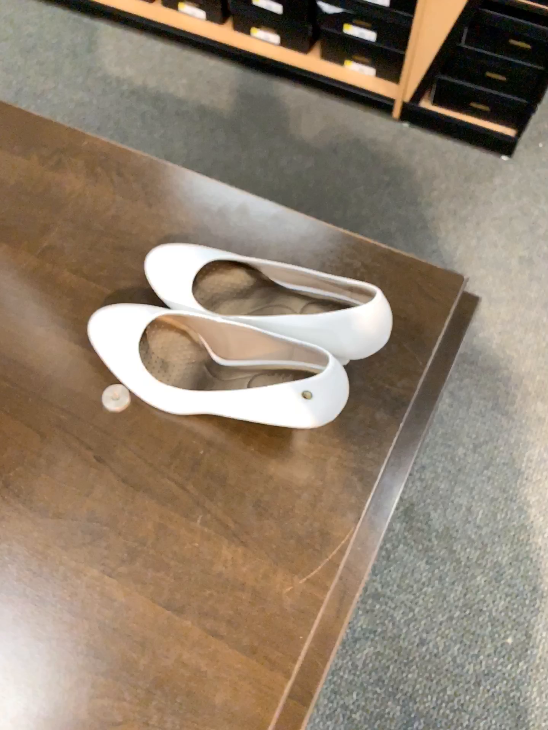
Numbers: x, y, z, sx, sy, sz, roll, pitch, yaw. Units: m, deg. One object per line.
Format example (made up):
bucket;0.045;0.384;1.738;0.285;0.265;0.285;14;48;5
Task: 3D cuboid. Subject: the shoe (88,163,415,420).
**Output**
shoe;-0.021;-0.066;0.517;0.260;0.110;0.090;27;68;13

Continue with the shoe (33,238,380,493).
shoe;-0.054;0.002;0.494;0.260;0.110;0.090;23;67;12
